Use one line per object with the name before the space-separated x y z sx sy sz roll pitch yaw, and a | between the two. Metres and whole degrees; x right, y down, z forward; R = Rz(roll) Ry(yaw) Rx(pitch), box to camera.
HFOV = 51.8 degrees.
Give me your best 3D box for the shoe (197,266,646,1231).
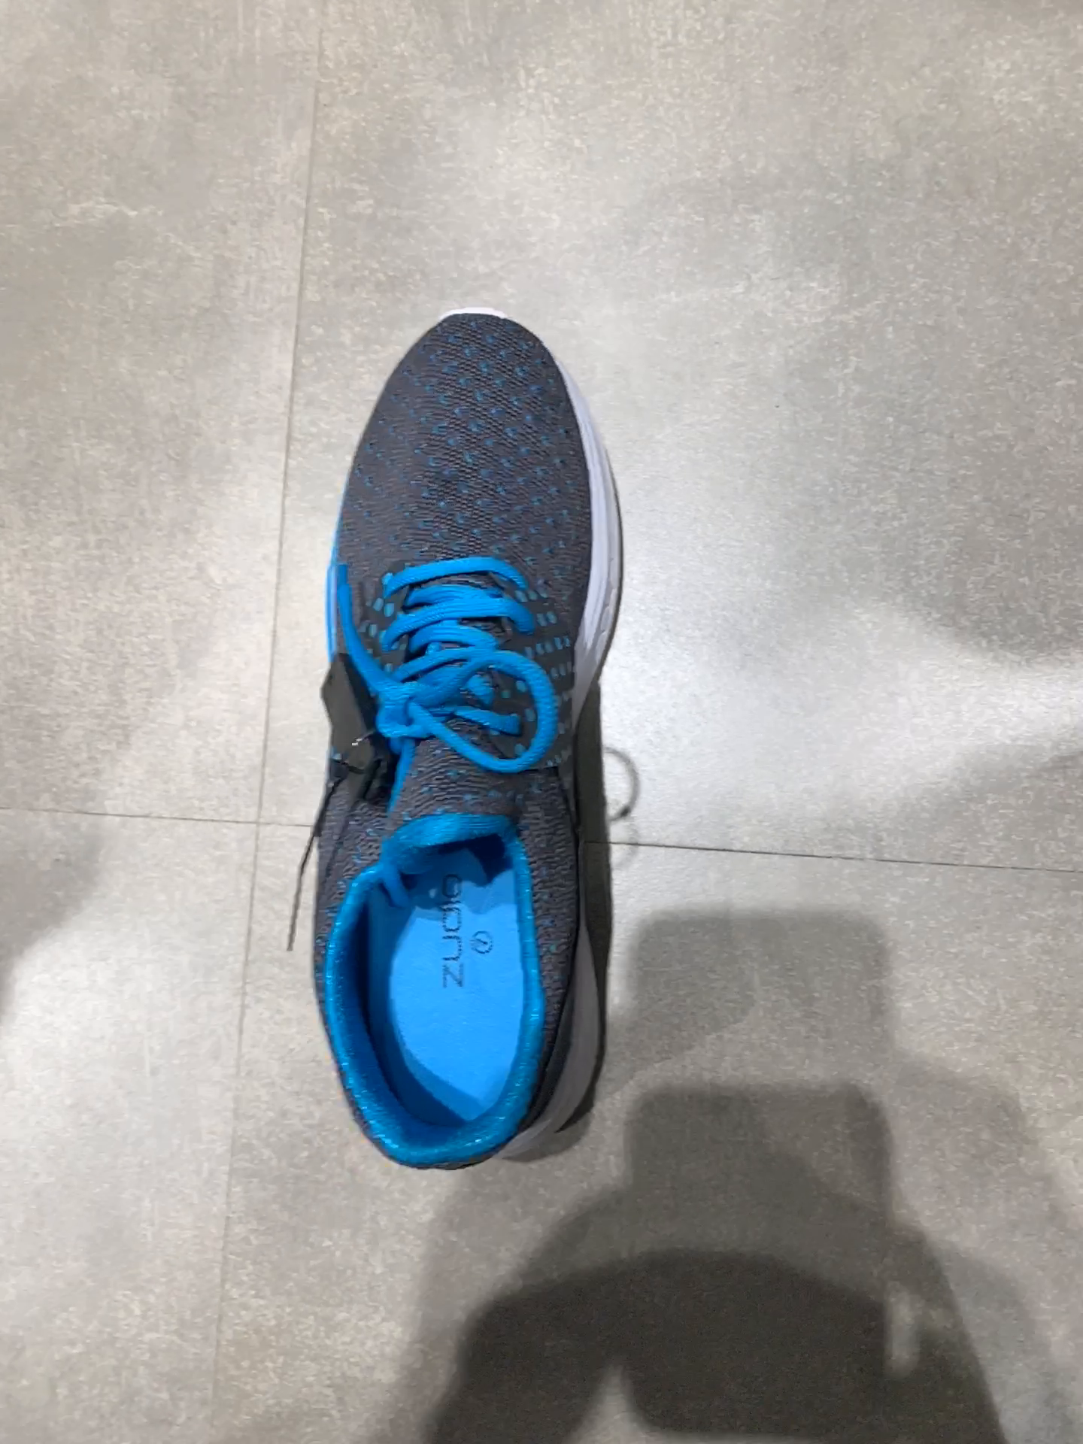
shoe | -0.027 0.009 0.317 0.102 0.102 0.227 -3 83 6
